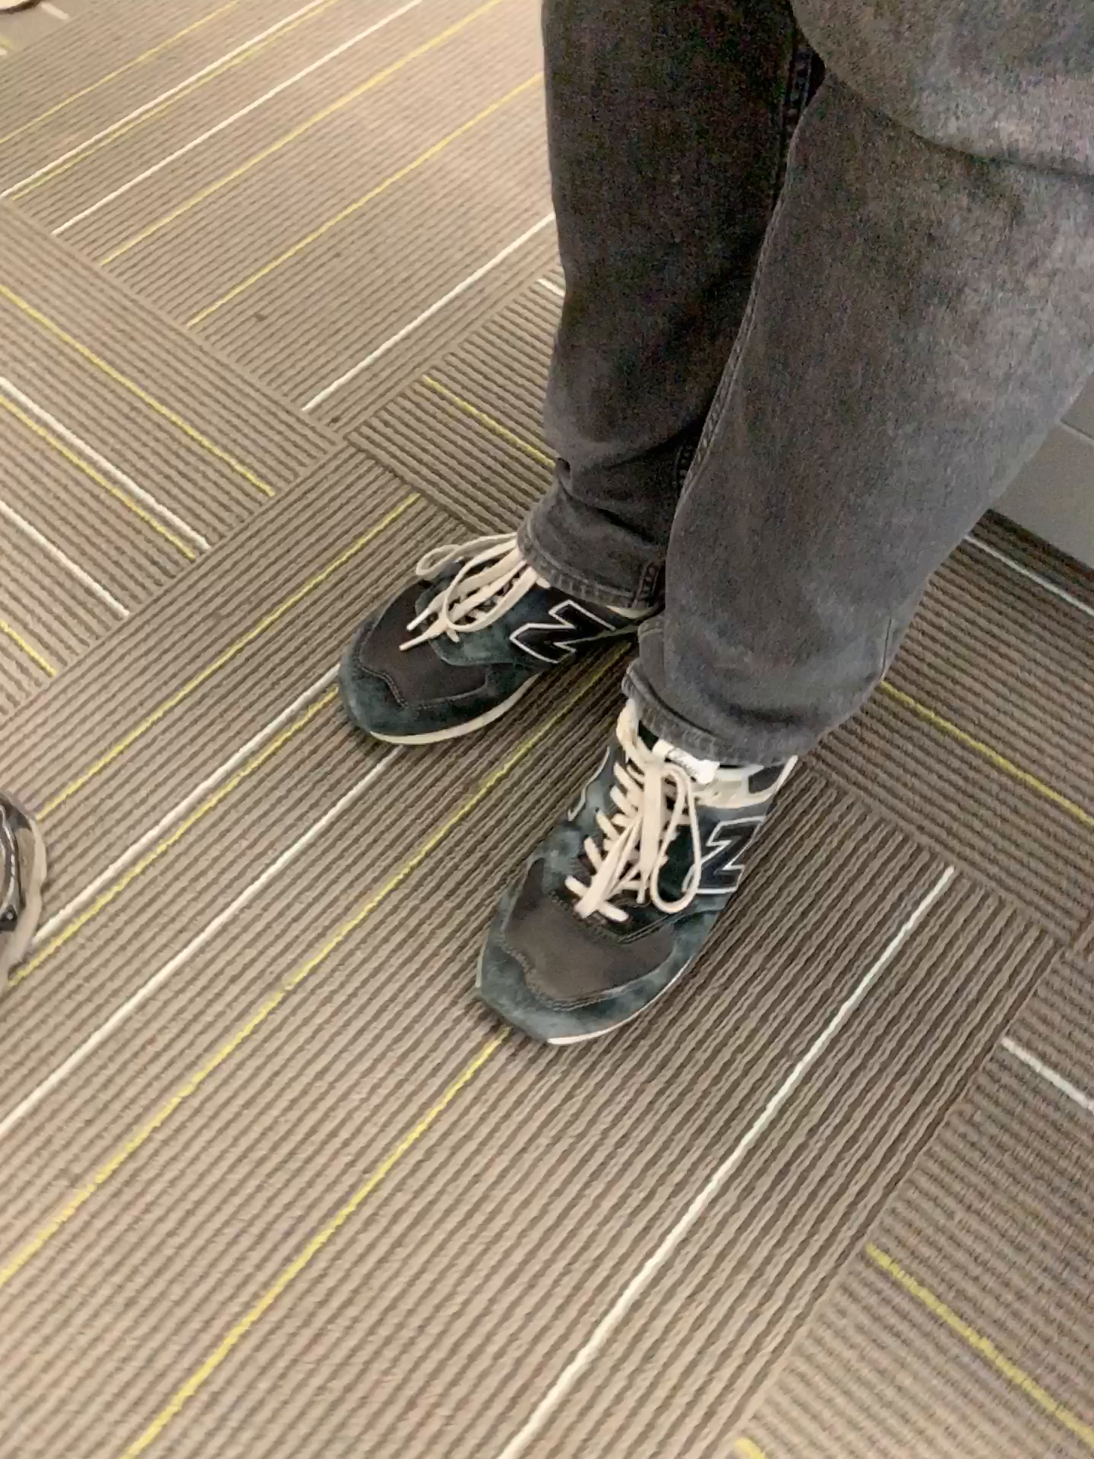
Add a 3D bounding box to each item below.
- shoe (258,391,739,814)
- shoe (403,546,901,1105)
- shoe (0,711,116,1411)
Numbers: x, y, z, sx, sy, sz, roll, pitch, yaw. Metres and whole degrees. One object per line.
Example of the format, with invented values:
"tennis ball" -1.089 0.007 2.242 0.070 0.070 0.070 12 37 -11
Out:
"shoe" -0.027 -0.091 0.749 0.279 0.085 0.138 -35 66 -17
"shoe" 0.070 0.048 0.682 0.131 0.087 0.316 33 66 18
"shoe" -0.403 0.164 0.616 0.134 0.087 0.328 21 63 13
